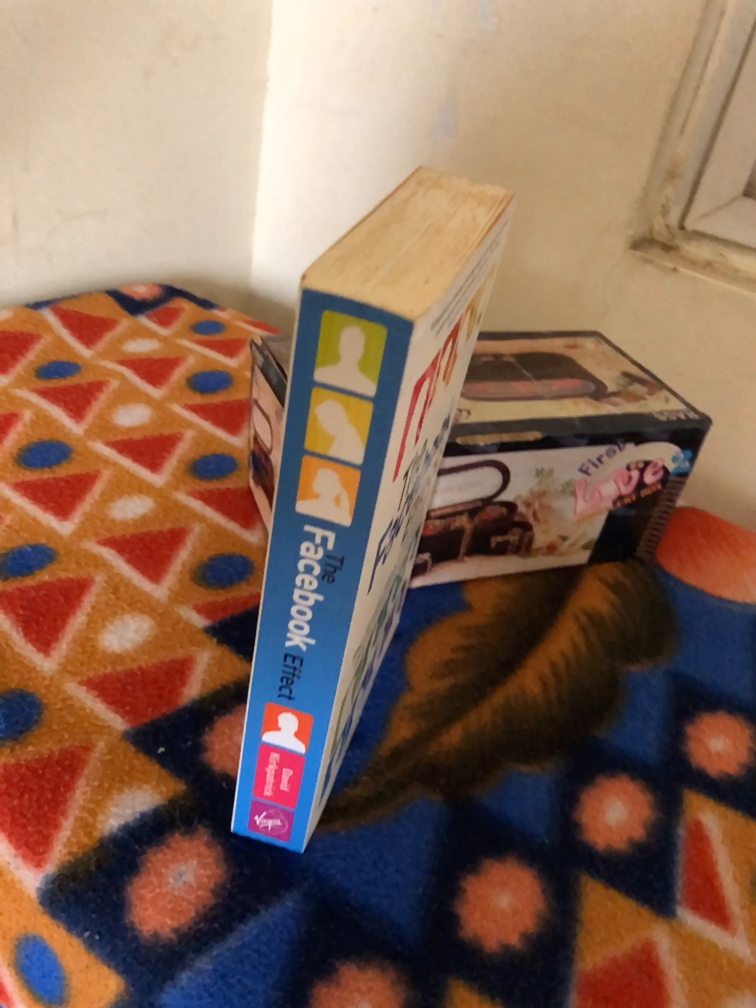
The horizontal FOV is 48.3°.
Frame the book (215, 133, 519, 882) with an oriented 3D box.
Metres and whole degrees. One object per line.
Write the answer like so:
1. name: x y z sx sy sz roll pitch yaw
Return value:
1. book: -0.004 -0.001 0.301 0.040 0.219 0.151 15 34 8
